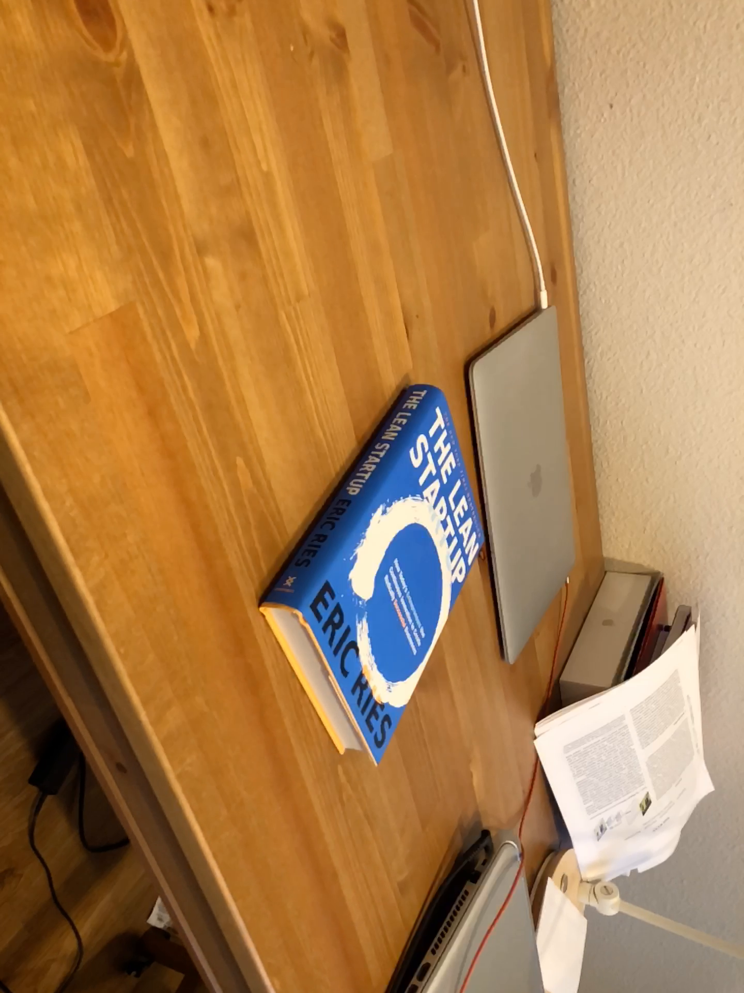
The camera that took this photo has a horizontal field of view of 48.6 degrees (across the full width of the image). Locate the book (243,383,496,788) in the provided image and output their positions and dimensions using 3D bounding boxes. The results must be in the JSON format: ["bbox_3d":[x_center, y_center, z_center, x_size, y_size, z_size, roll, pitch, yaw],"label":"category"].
[{"bbox_3d":[0.015,0.052,0.544,0.210,0.040,0.161,-58,140,-40],"label":"book"}]
